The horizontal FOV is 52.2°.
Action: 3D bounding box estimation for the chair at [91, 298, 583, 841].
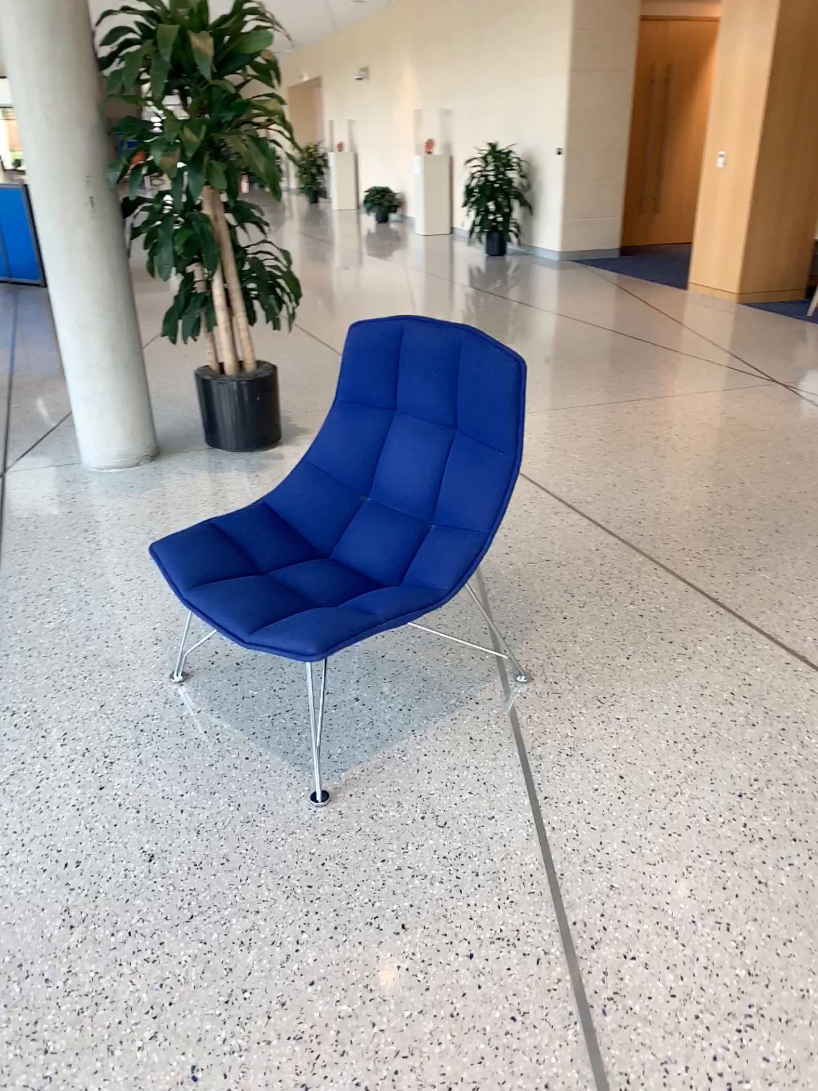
[{"bbox_3d":[-0.166,-0.042,2.141,0.831,0.964,0.802,-21,31,-36],"label":"chair"}]
